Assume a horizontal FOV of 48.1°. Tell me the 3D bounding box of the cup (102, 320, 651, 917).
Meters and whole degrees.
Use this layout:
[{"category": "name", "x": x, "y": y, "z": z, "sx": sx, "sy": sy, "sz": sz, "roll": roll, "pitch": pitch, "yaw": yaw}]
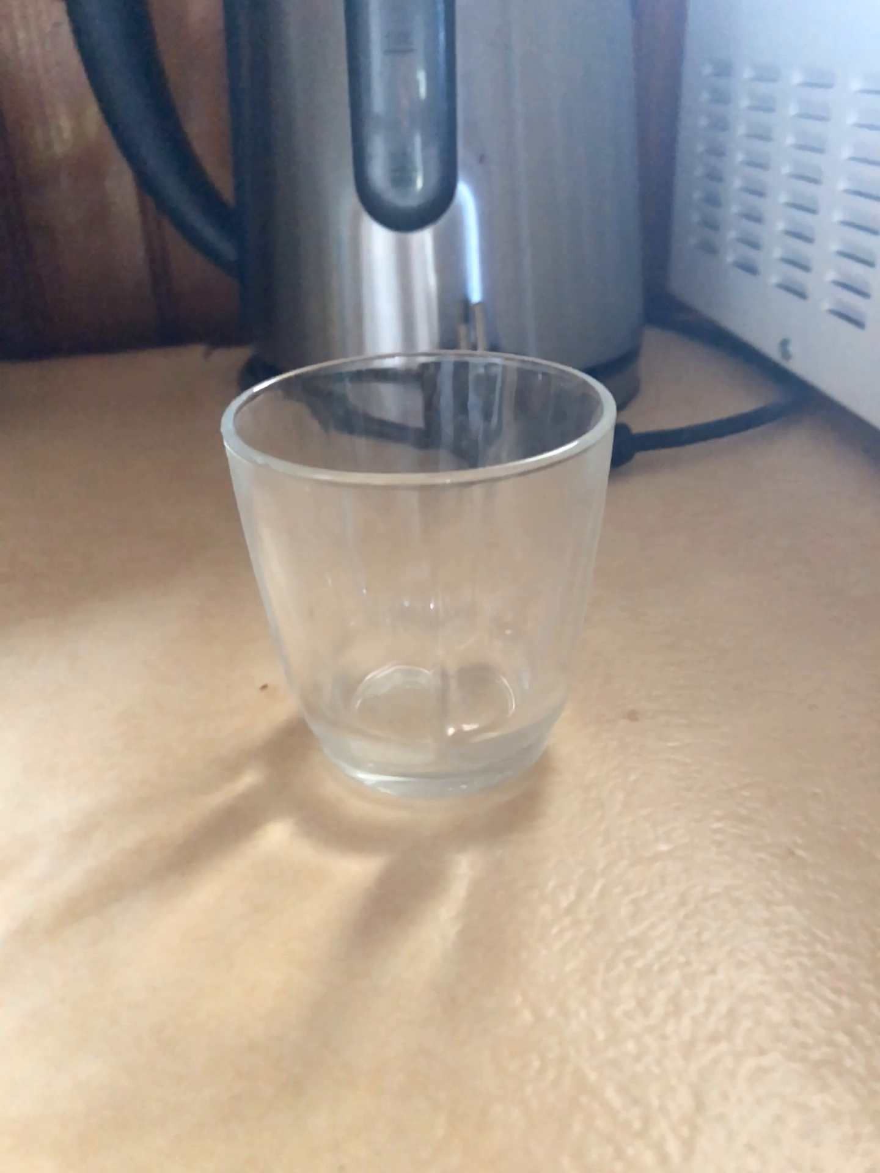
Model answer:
[{"category": "cup", "x": -0.009, "y": -0.001, "z": 0.196, "sx": 0.070, "sy": 0.080, "sz": 0.070, "roll": -2, "pitch": 29, "yaw": 1}]
